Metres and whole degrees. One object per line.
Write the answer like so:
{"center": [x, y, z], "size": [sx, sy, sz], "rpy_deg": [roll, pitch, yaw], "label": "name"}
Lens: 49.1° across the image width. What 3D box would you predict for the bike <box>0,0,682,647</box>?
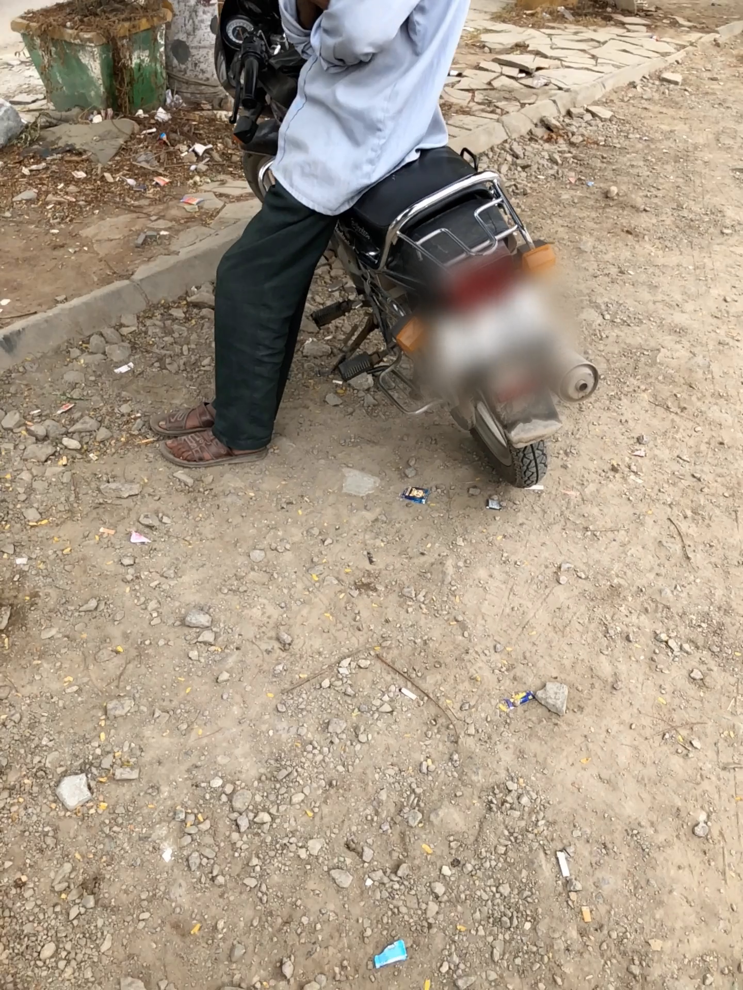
{"center": [-0.259, -0.716, 1.937], "size": [0.741, 1.170, 1.600], "rpy_deg": [-15, 44, -20], "label": "bike"}
